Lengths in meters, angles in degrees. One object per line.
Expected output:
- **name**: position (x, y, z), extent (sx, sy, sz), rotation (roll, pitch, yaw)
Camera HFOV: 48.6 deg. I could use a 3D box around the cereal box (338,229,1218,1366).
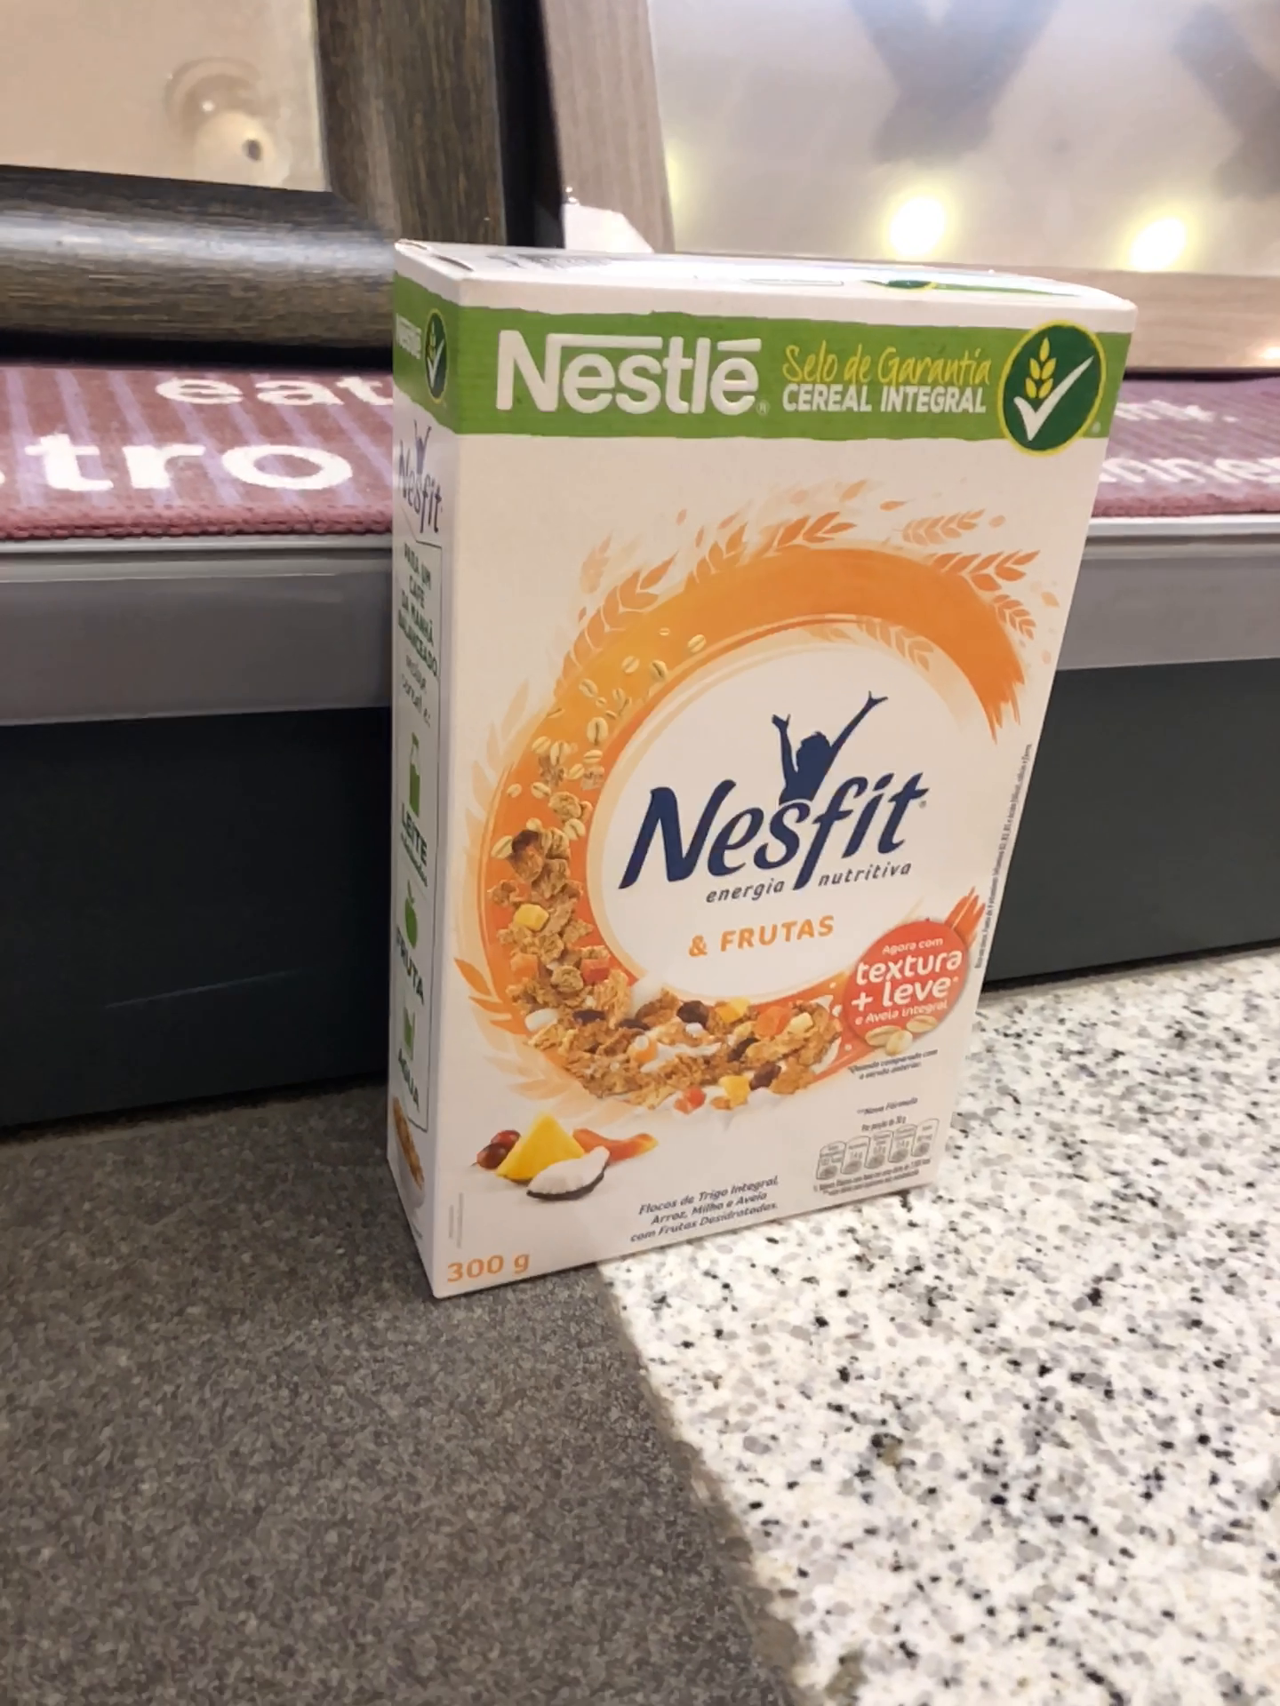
- **cereal box**: position (0.020, -0.009, 0.343), extent (0.170, 0.248, 0.060), rotation (-8, 31, -24)
